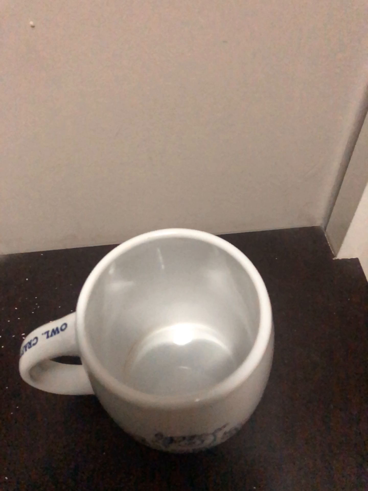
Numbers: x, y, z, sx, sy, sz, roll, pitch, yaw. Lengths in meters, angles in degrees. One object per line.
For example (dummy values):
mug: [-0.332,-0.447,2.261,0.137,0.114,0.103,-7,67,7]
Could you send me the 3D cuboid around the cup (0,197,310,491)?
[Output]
cup: [-0.026,0.046,0.191,0.130,0.079,0.101,-4,51,0]
